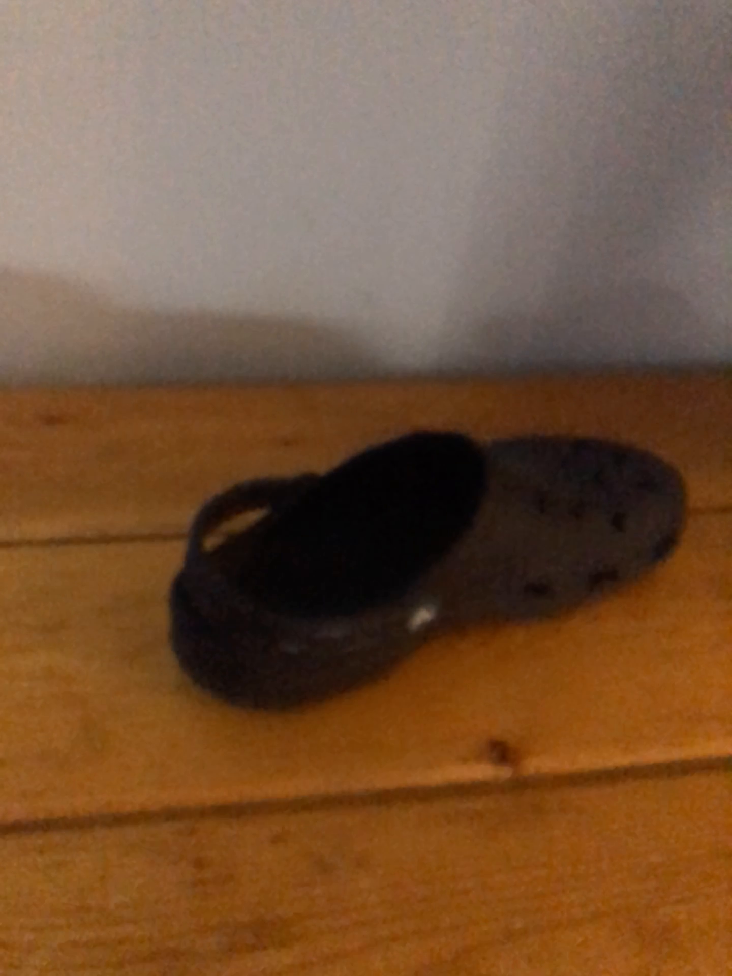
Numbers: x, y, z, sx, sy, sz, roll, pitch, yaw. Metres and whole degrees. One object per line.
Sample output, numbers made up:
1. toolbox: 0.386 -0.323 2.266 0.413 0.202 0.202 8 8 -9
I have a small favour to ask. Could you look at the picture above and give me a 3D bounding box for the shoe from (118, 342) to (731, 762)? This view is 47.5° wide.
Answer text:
1. shoe: 0.037 0.016 0.432 0.290 0.080 0.130 -14 45 -20
